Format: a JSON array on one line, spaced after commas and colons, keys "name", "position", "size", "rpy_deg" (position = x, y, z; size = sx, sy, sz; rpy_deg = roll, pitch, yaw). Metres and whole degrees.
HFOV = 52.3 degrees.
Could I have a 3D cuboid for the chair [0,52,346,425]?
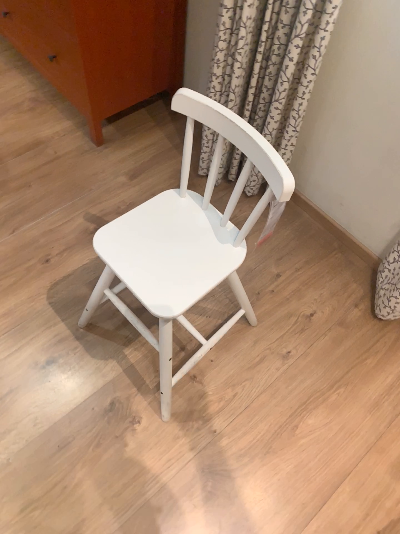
[{"name": "chair", "position": [-0.087, -0.011, 0.963], "size": [0.430, 0.649, 0.450], "rpy_deg": [-39, 70, -24]}]
